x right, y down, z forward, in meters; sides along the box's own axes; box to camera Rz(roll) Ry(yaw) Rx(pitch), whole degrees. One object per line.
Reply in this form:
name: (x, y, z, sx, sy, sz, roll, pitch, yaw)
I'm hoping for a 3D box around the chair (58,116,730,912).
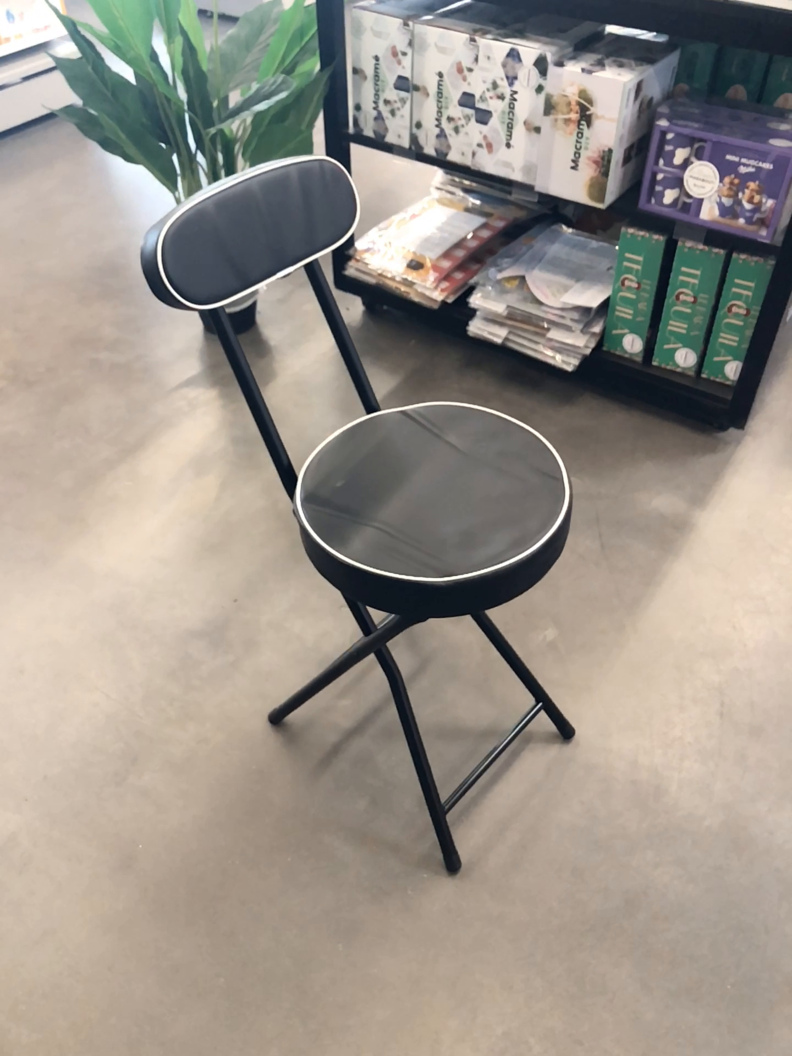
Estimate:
chair: (-0.012, 0.005, 1.048, 0.510, 0.756, 0.342, 32, 53, 29)
